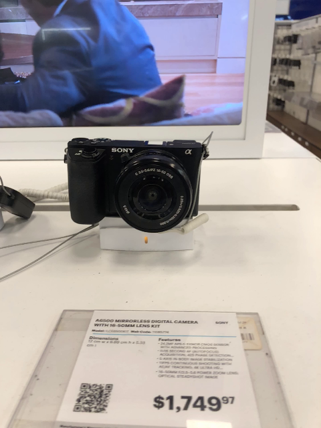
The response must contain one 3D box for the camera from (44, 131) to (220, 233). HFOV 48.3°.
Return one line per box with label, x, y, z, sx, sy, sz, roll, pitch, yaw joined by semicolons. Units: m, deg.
camera;-0.020;-0.029;0.305;0.130;0.070;0.060;0;23;3
